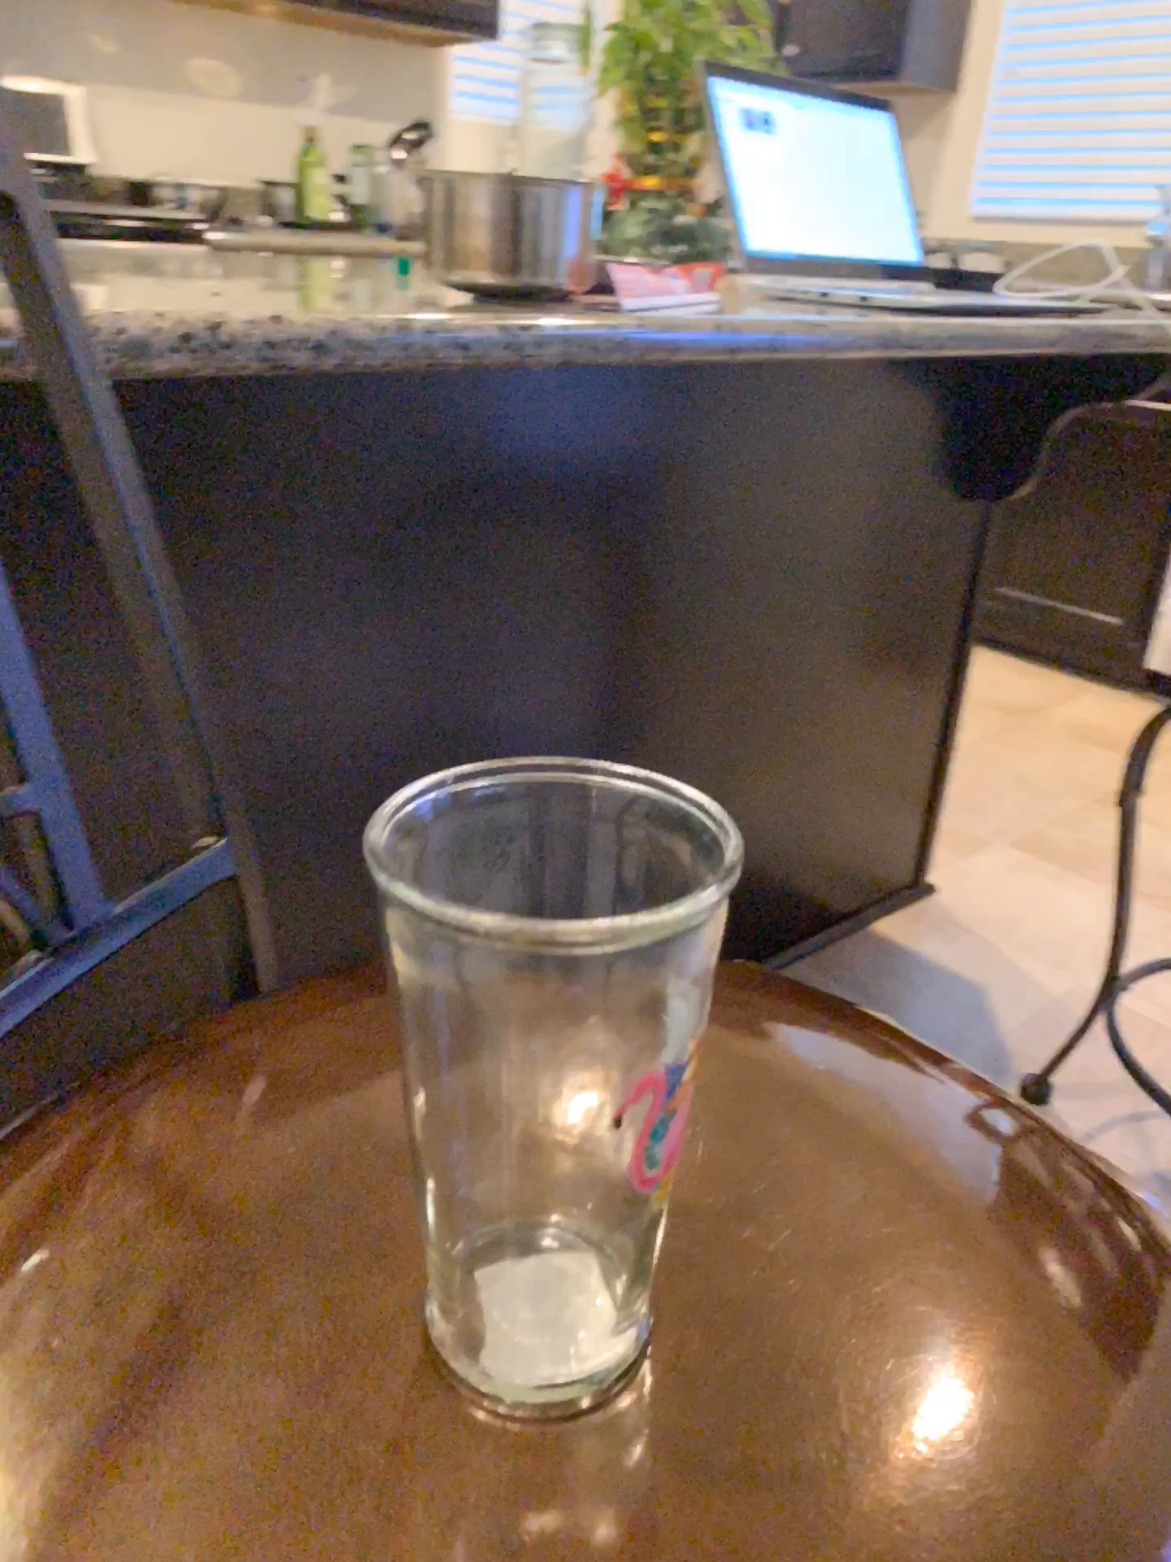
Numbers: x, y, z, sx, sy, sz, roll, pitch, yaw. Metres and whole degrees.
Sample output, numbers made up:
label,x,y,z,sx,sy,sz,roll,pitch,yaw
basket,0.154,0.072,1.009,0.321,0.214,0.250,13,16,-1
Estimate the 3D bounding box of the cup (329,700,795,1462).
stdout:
label,x,y,z,sx,sy,sz,roll,pitch,yaw
cup,-0.006,0.070,0.302,0.080,0.149,0.081,3,23,-1
